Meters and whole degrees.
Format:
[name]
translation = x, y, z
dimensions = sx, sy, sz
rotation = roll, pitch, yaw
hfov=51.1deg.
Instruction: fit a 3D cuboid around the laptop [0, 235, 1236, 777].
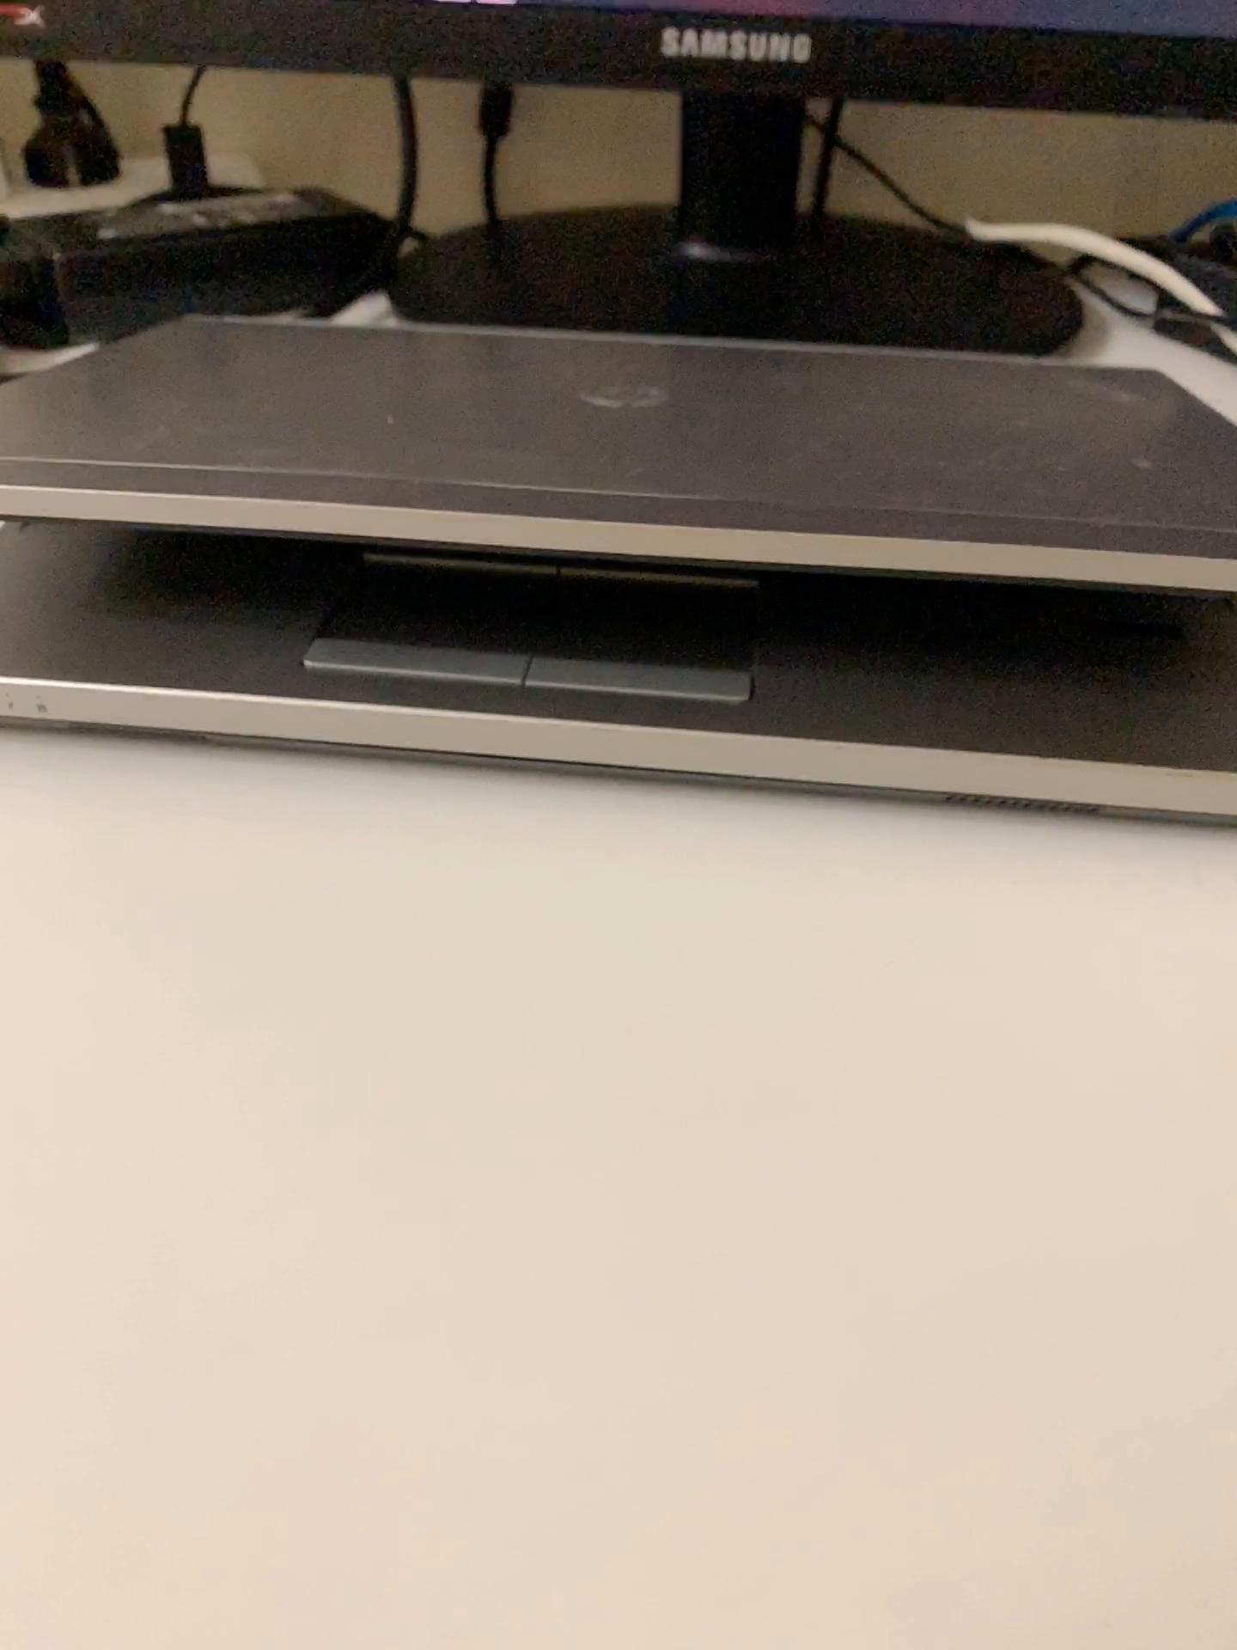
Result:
[laptop]
translation = 0.002, -0.093, 0.315
dimensions = 0.292, 0.029, 0.184
rotation = 5, 41, 5
